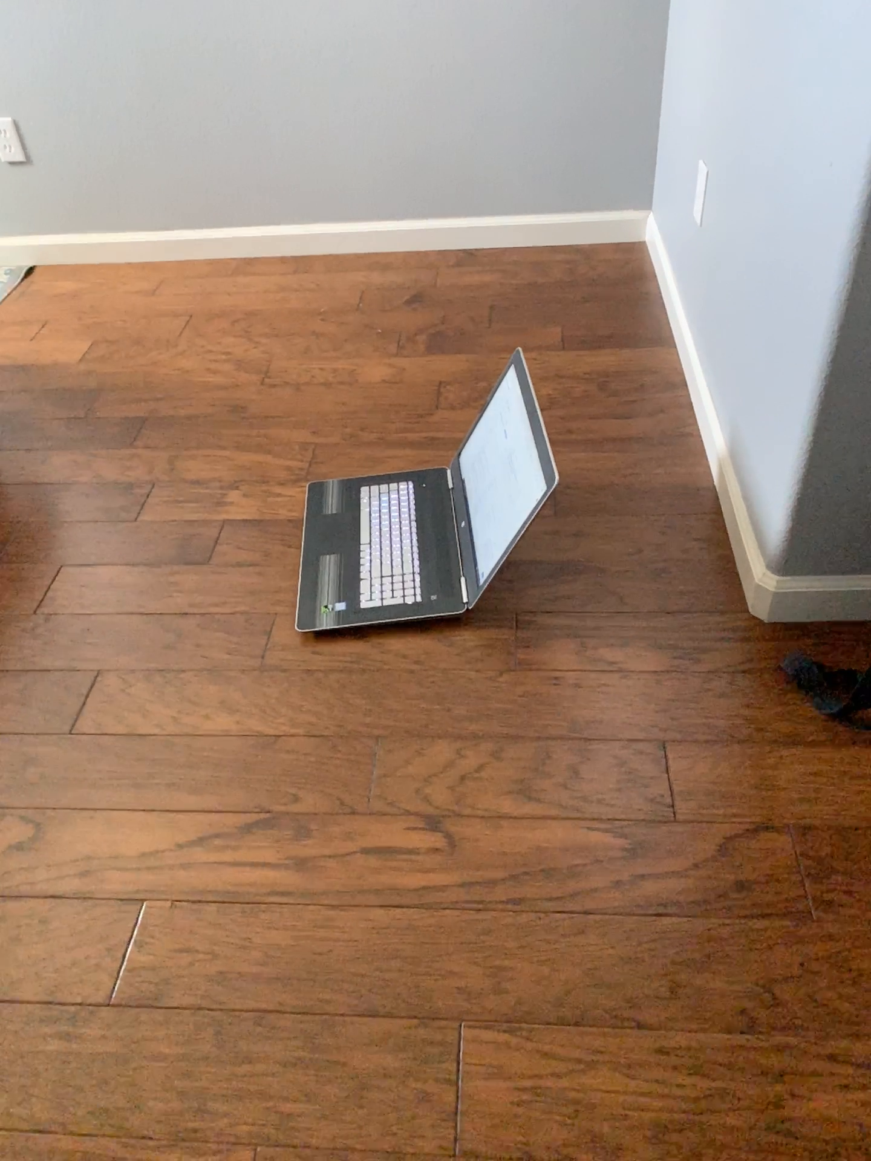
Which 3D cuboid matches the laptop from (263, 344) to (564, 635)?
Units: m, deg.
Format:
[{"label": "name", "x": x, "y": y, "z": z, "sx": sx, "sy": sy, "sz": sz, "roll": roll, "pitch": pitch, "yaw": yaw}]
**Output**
[{"label": "laptop", "x": -0.037, "y": -0.164, "z": 1.463, "sx": 0.421, "sy": 0.233, "sz": 0.413, "roll": -6, "pitch": 41, "yaw": 0}]
